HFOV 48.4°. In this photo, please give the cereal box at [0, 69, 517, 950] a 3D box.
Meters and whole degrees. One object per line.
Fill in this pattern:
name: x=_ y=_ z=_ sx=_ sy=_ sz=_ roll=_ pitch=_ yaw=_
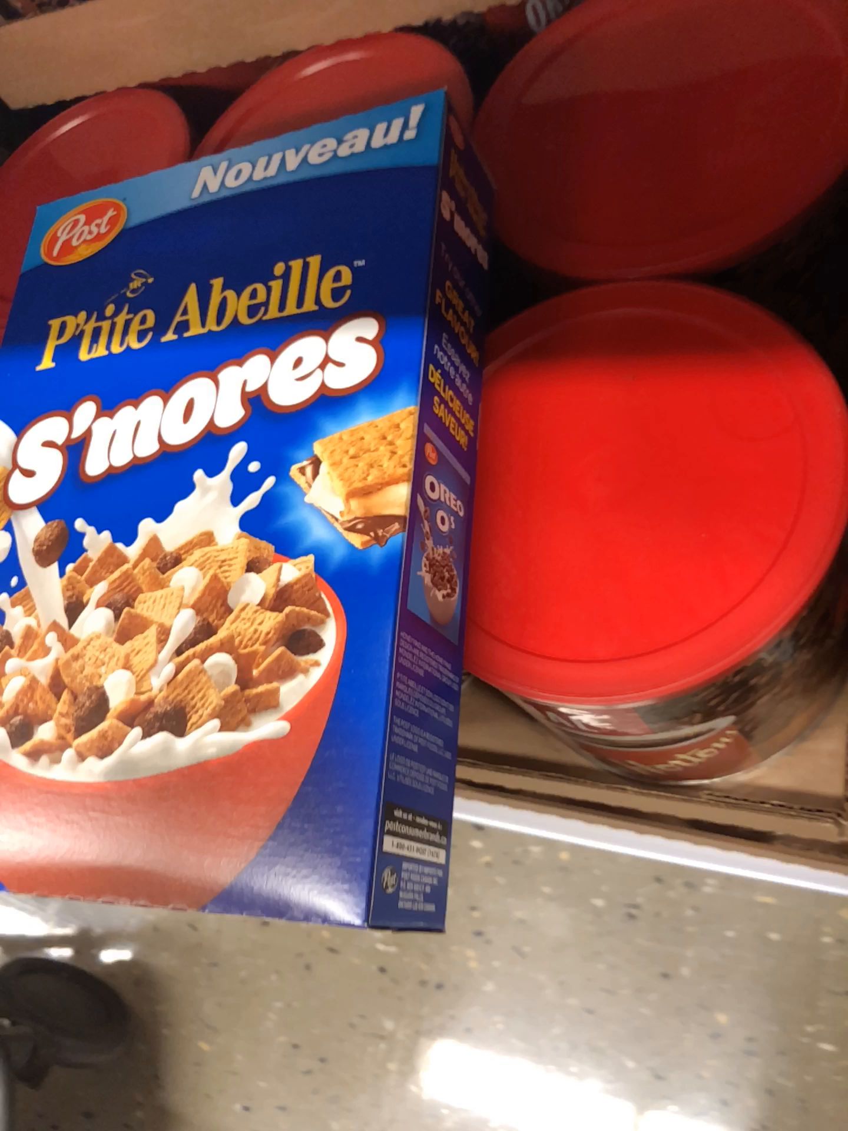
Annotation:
cereal box: x=-0.077 y=-0.023 z=0.352 sx=0.201 sy=0.060 sz=0.290 roll=-4 pitch=68 yaw=25
